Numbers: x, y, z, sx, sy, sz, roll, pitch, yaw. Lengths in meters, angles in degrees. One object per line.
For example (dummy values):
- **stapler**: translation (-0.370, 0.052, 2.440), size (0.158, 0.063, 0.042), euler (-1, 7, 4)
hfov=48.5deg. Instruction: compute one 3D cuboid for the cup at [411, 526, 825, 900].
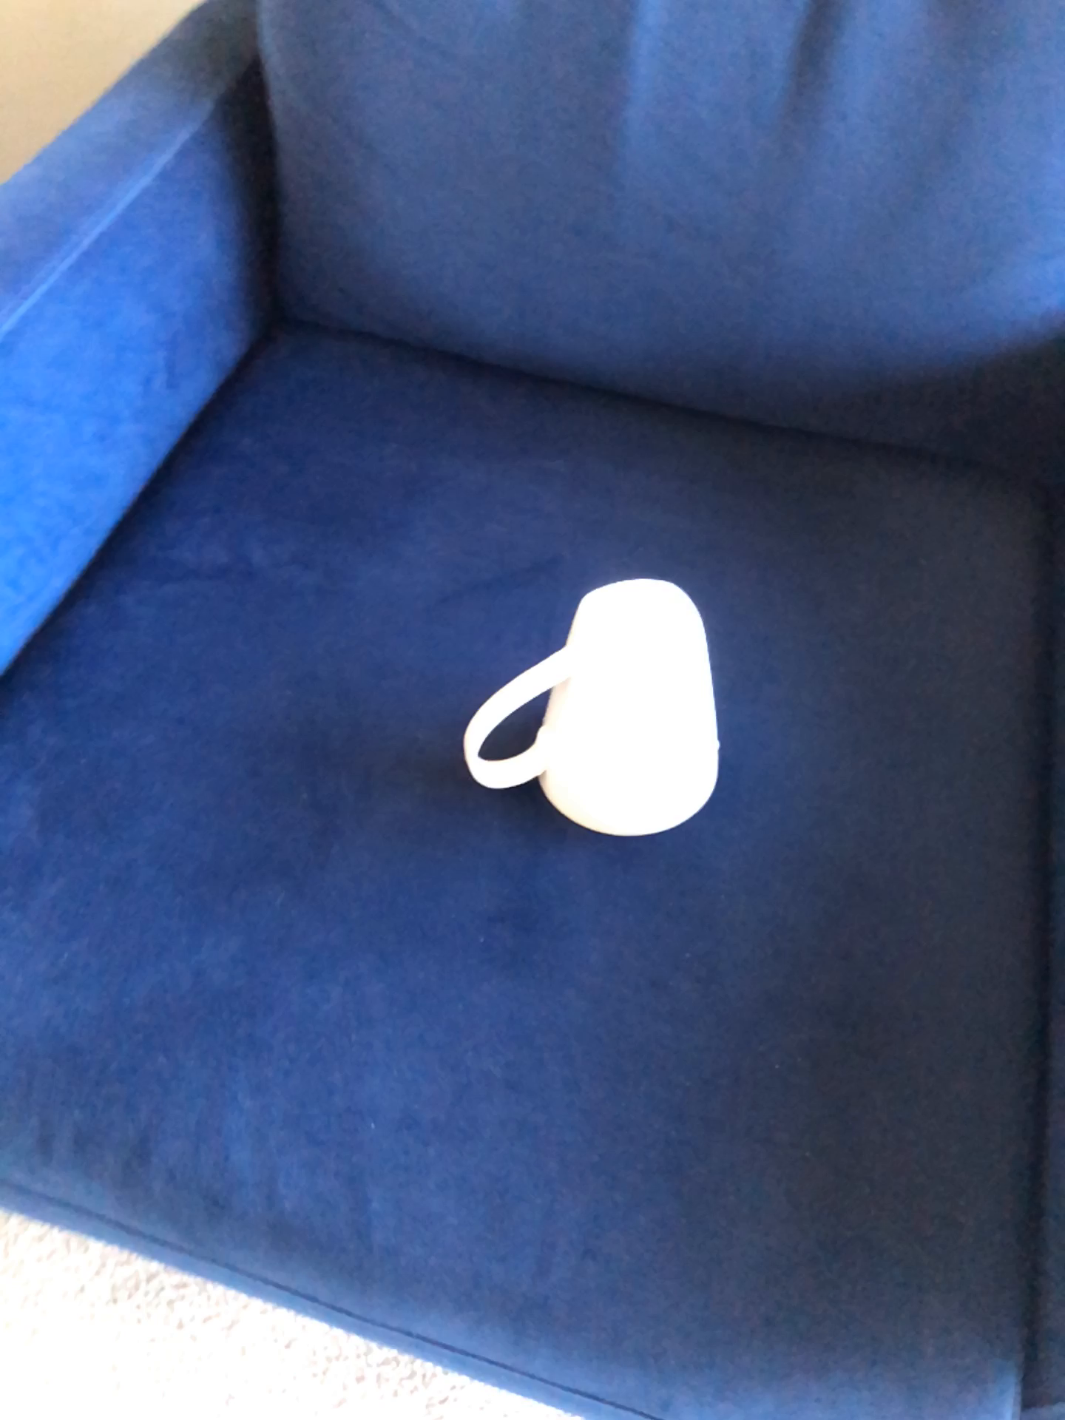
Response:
- **cup**: translation (0.033, 0.000, 0.542), size (0.150, 0.090, 0.110), euler (-13, 54, -10)
